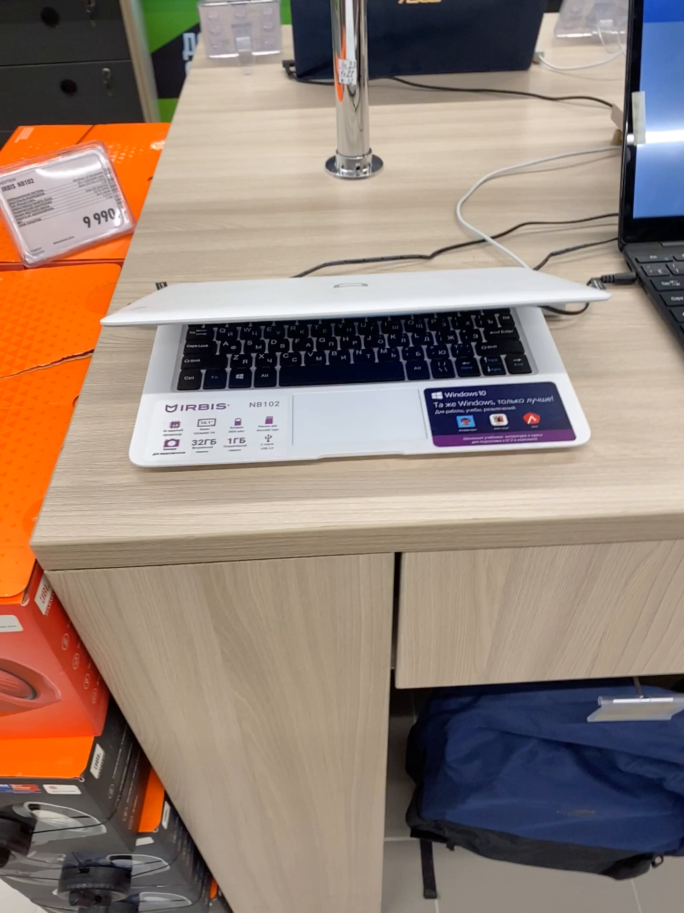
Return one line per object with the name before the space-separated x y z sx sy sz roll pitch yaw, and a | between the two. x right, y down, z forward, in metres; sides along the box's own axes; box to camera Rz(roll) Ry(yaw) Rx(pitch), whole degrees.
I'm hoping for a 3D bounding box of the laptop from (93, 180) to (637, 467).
laptop | 0.010 -0.092 0.448 0.280 0.078 0.179 -3 46 0
